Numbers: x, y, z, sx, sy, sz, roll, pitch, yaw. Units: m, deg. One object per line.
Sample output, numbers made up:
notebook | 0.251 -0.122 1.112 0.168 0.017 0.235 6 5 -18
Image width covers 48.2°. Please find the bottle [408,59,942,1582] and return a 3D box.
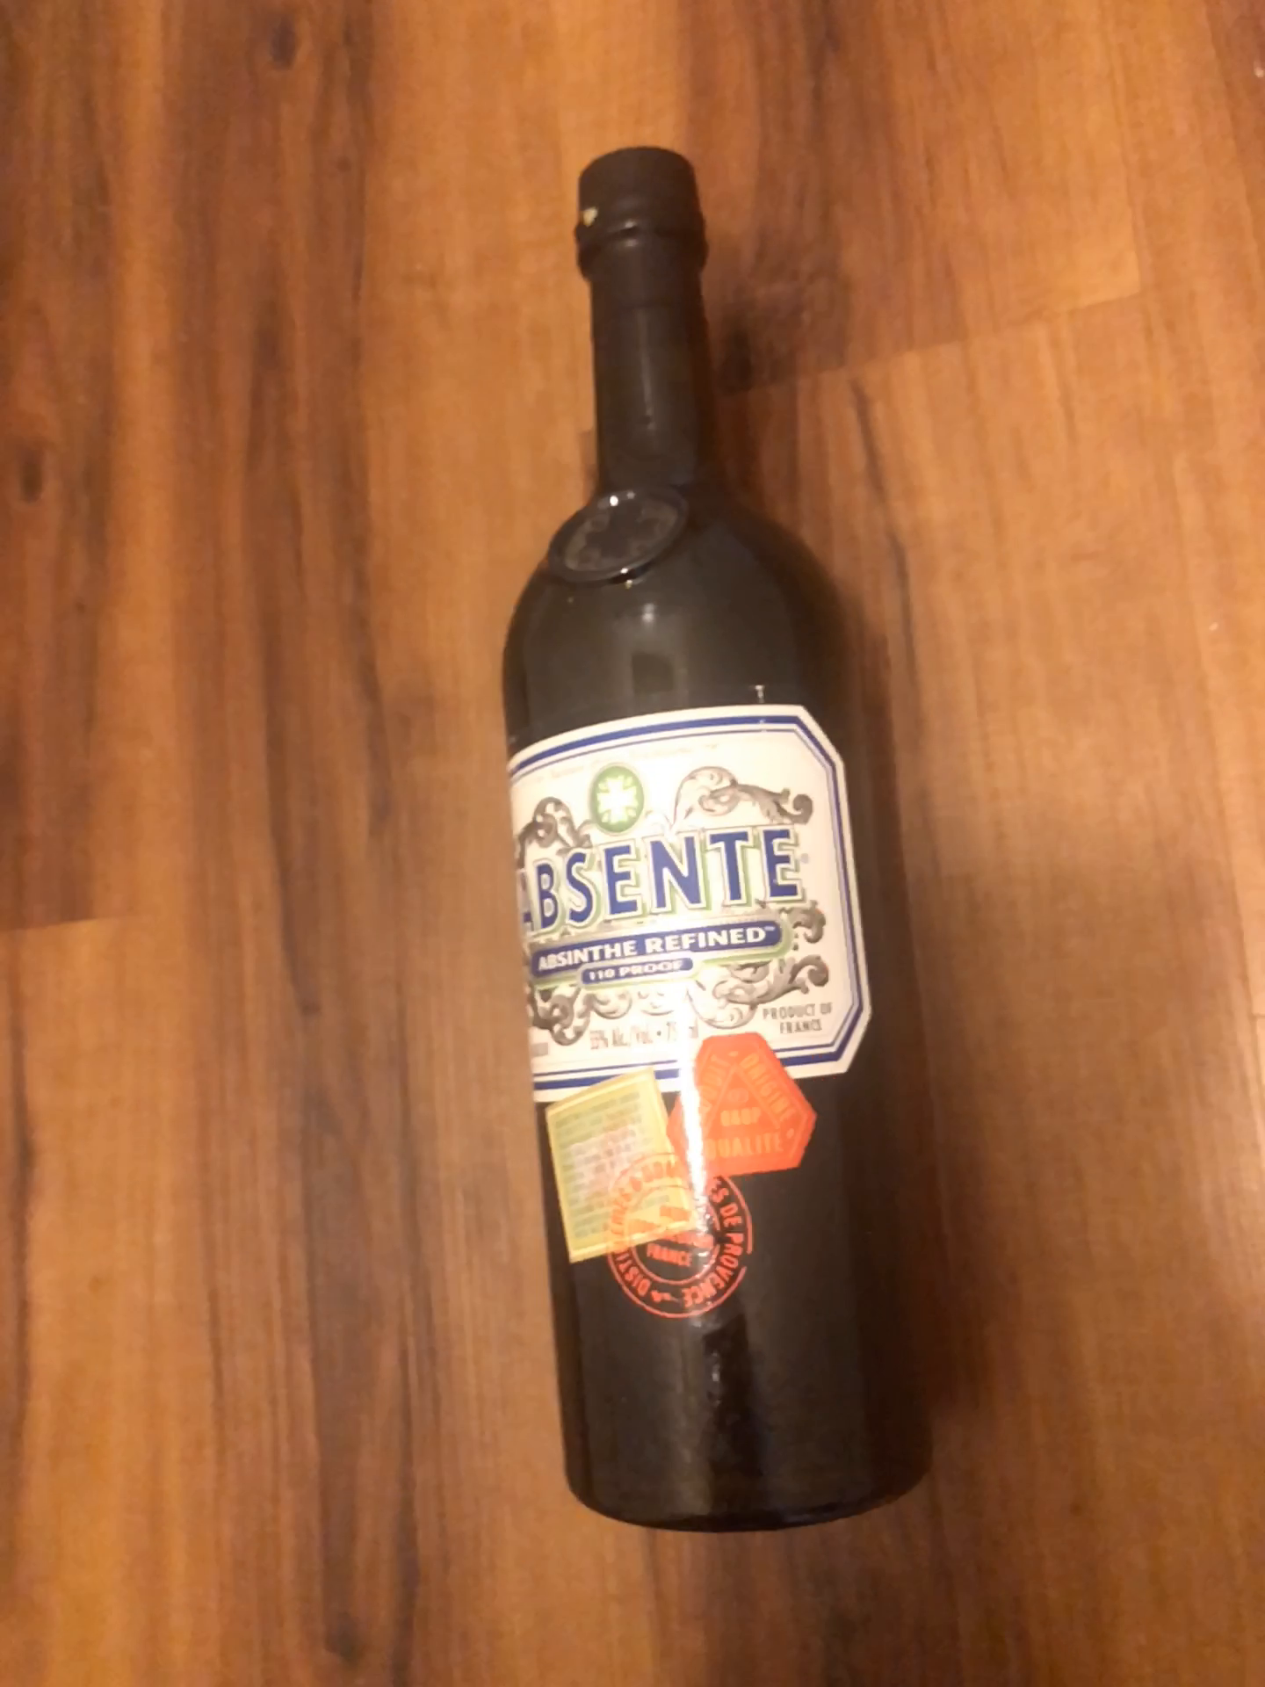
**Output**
bottle | 0.008 -0.008 0.319 0.080 0.070 0.300 -8 79 21
